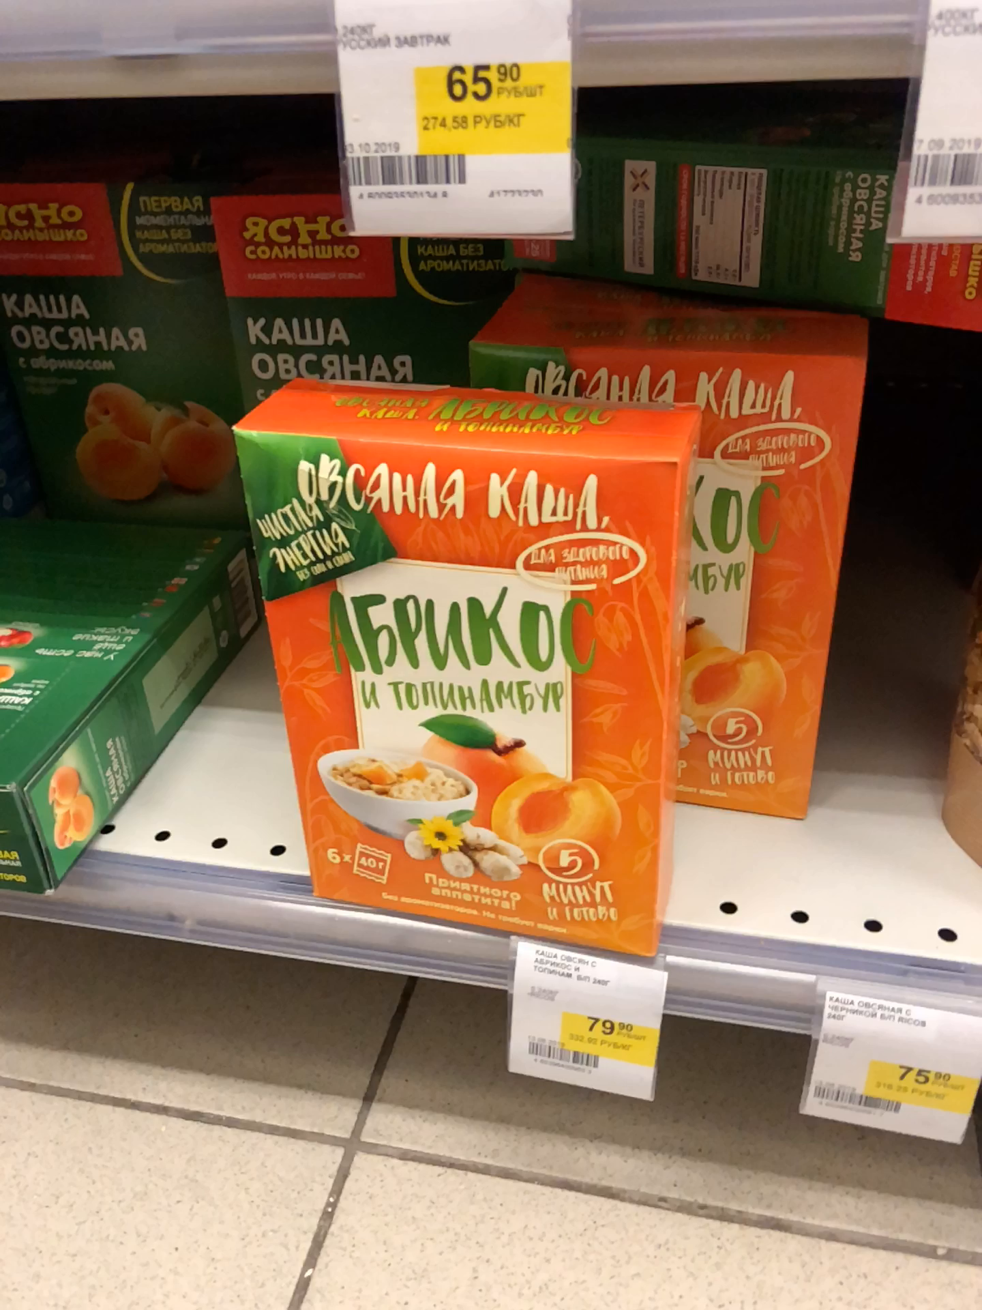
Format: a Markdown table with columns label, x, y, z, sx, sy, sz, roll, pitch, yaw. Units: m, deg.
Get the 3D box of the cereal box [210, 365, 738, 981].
| label | x | y | z | sx | sy | sz | roll | pitch | yaw |
| --- | --- | --- | --- | --- | --- | --- | --- | --- | --- |
| cereal box | 0.000 | 0.009 | 0.354 | 0.140 | 0.189 | 0.050 | 7 | 34 | 15 |
